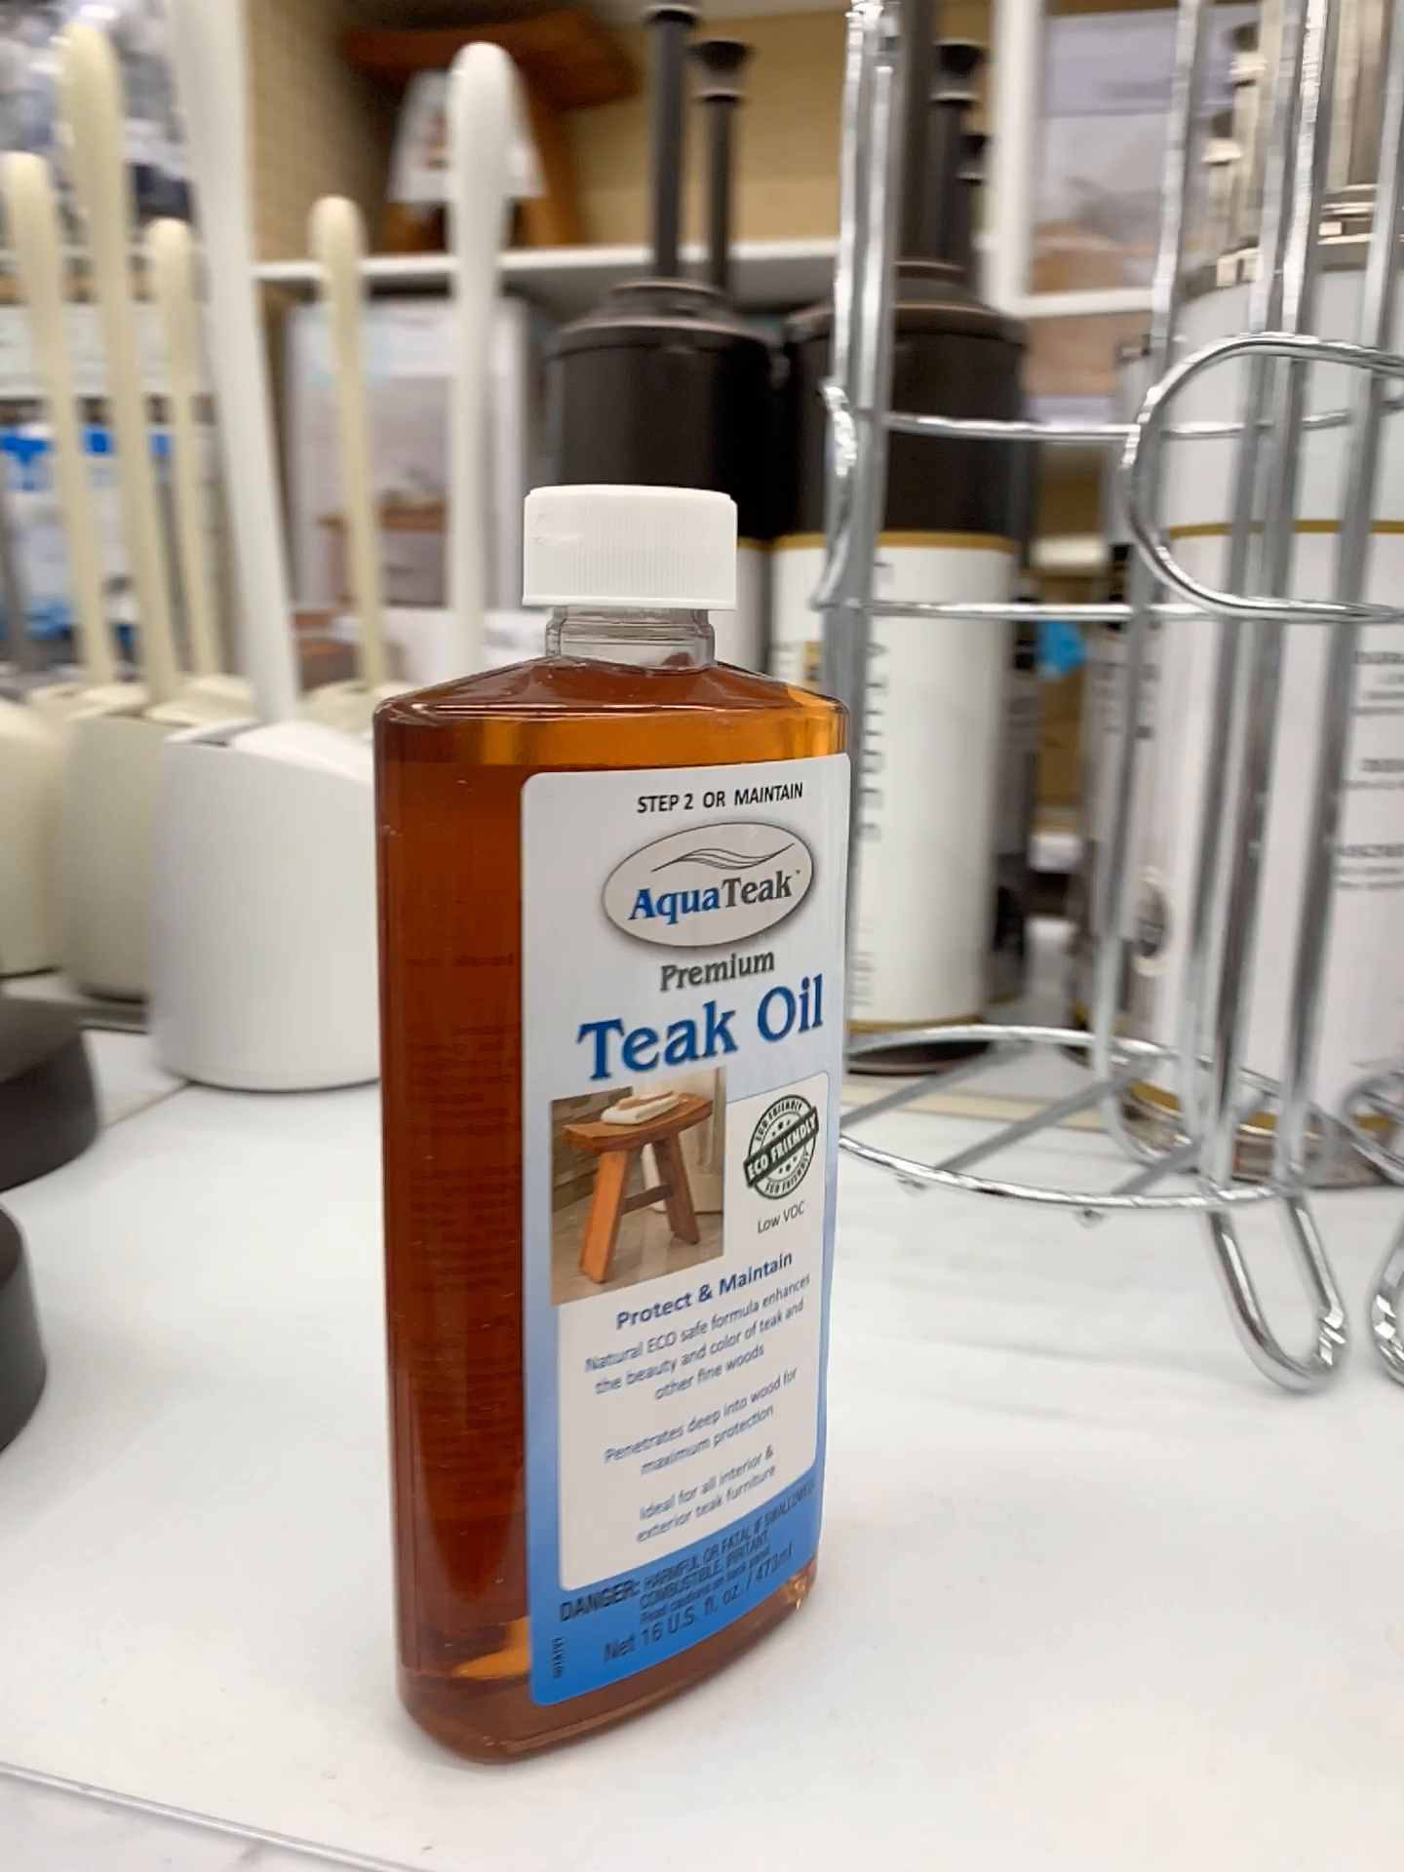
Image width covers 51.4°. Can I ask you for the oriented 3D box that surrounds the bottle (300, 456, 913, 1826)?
[{"bbox_3d":[-0.015,0.030,0.255,0.088,0.207,0.046,-9,16,-40],"label":"bottle"}]
